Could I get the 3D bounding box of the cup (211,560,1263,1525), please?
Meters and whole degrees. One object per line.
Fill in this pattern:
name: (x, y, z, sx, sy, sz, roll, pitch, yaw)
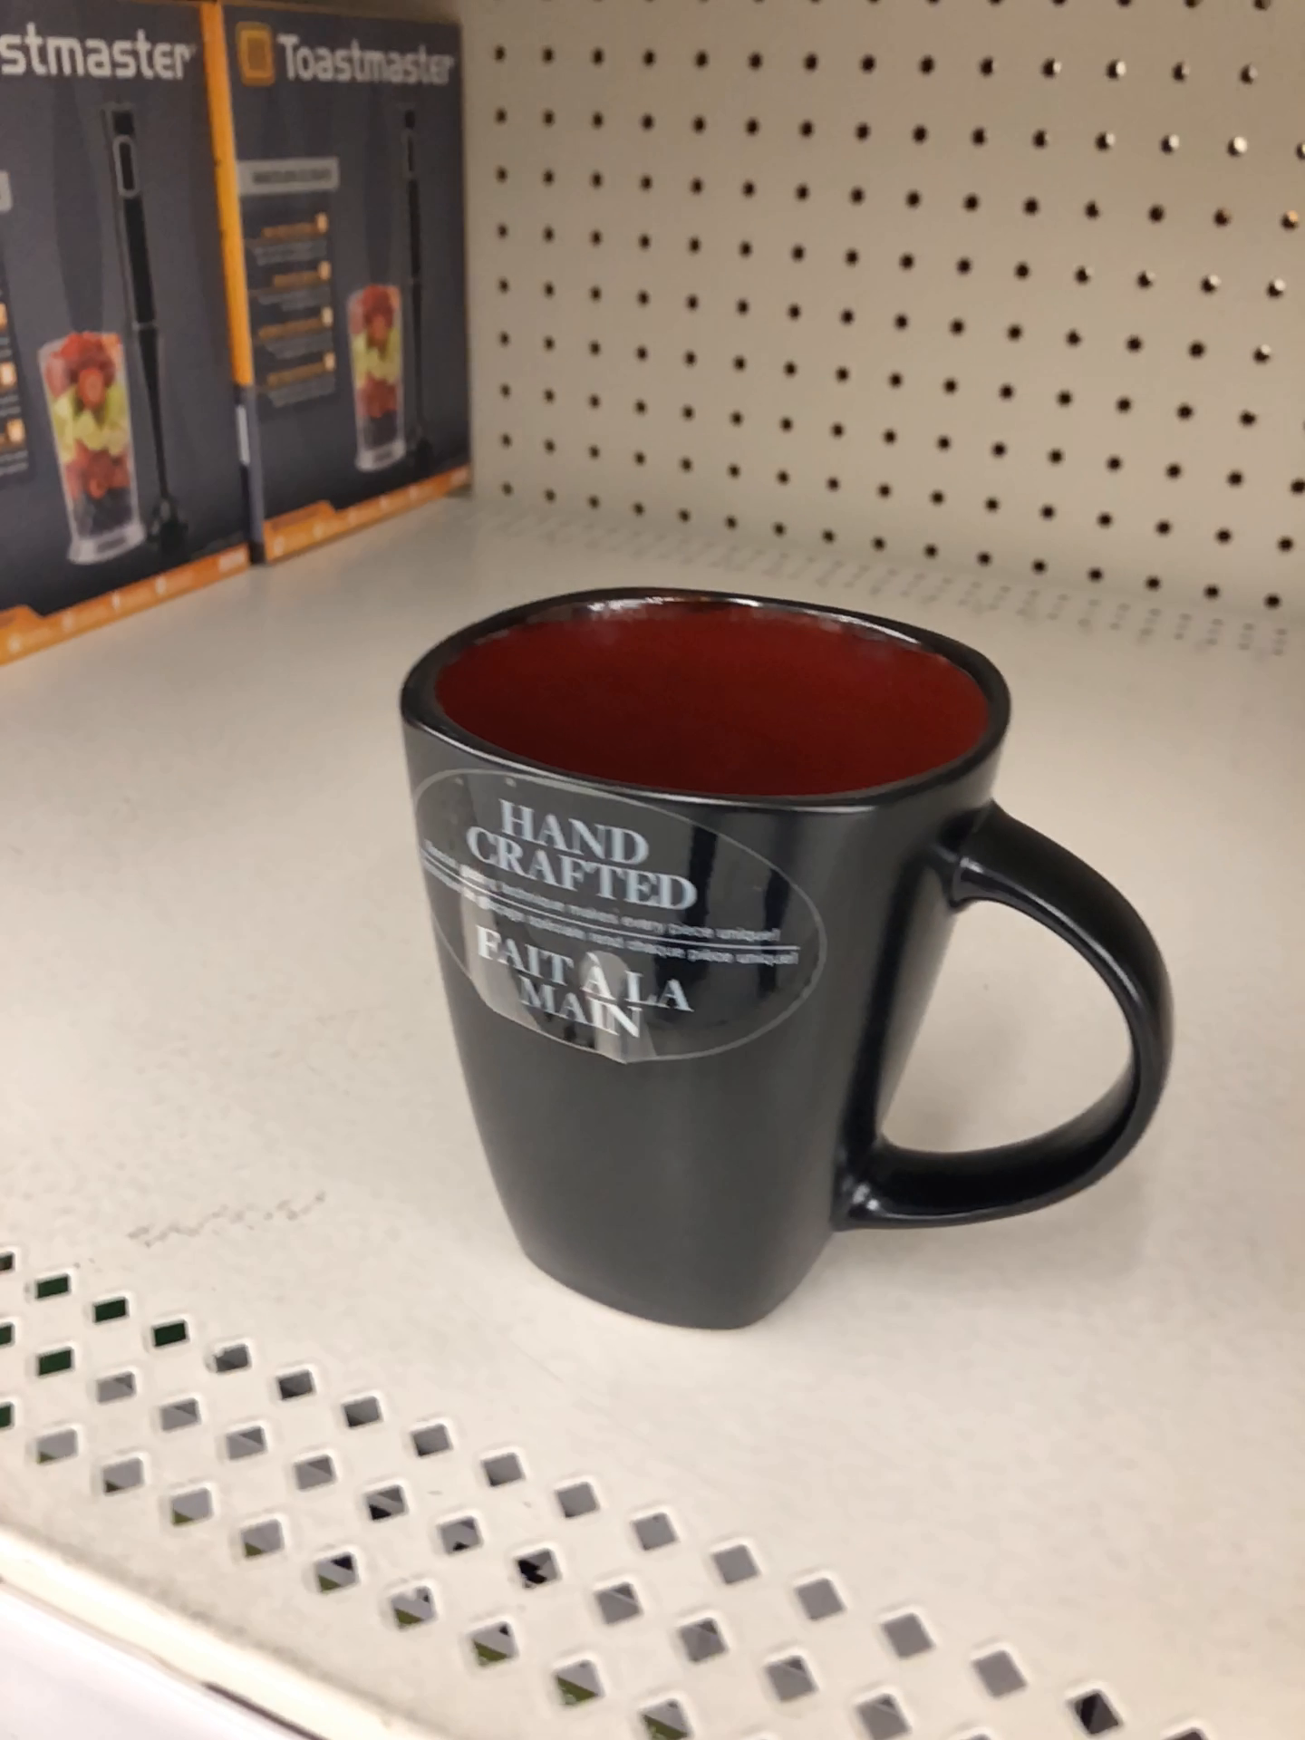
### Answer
cup: (0.019, 0.016, 0.254, 0.143, 0.099, 0.100, 12, 29, 19)
